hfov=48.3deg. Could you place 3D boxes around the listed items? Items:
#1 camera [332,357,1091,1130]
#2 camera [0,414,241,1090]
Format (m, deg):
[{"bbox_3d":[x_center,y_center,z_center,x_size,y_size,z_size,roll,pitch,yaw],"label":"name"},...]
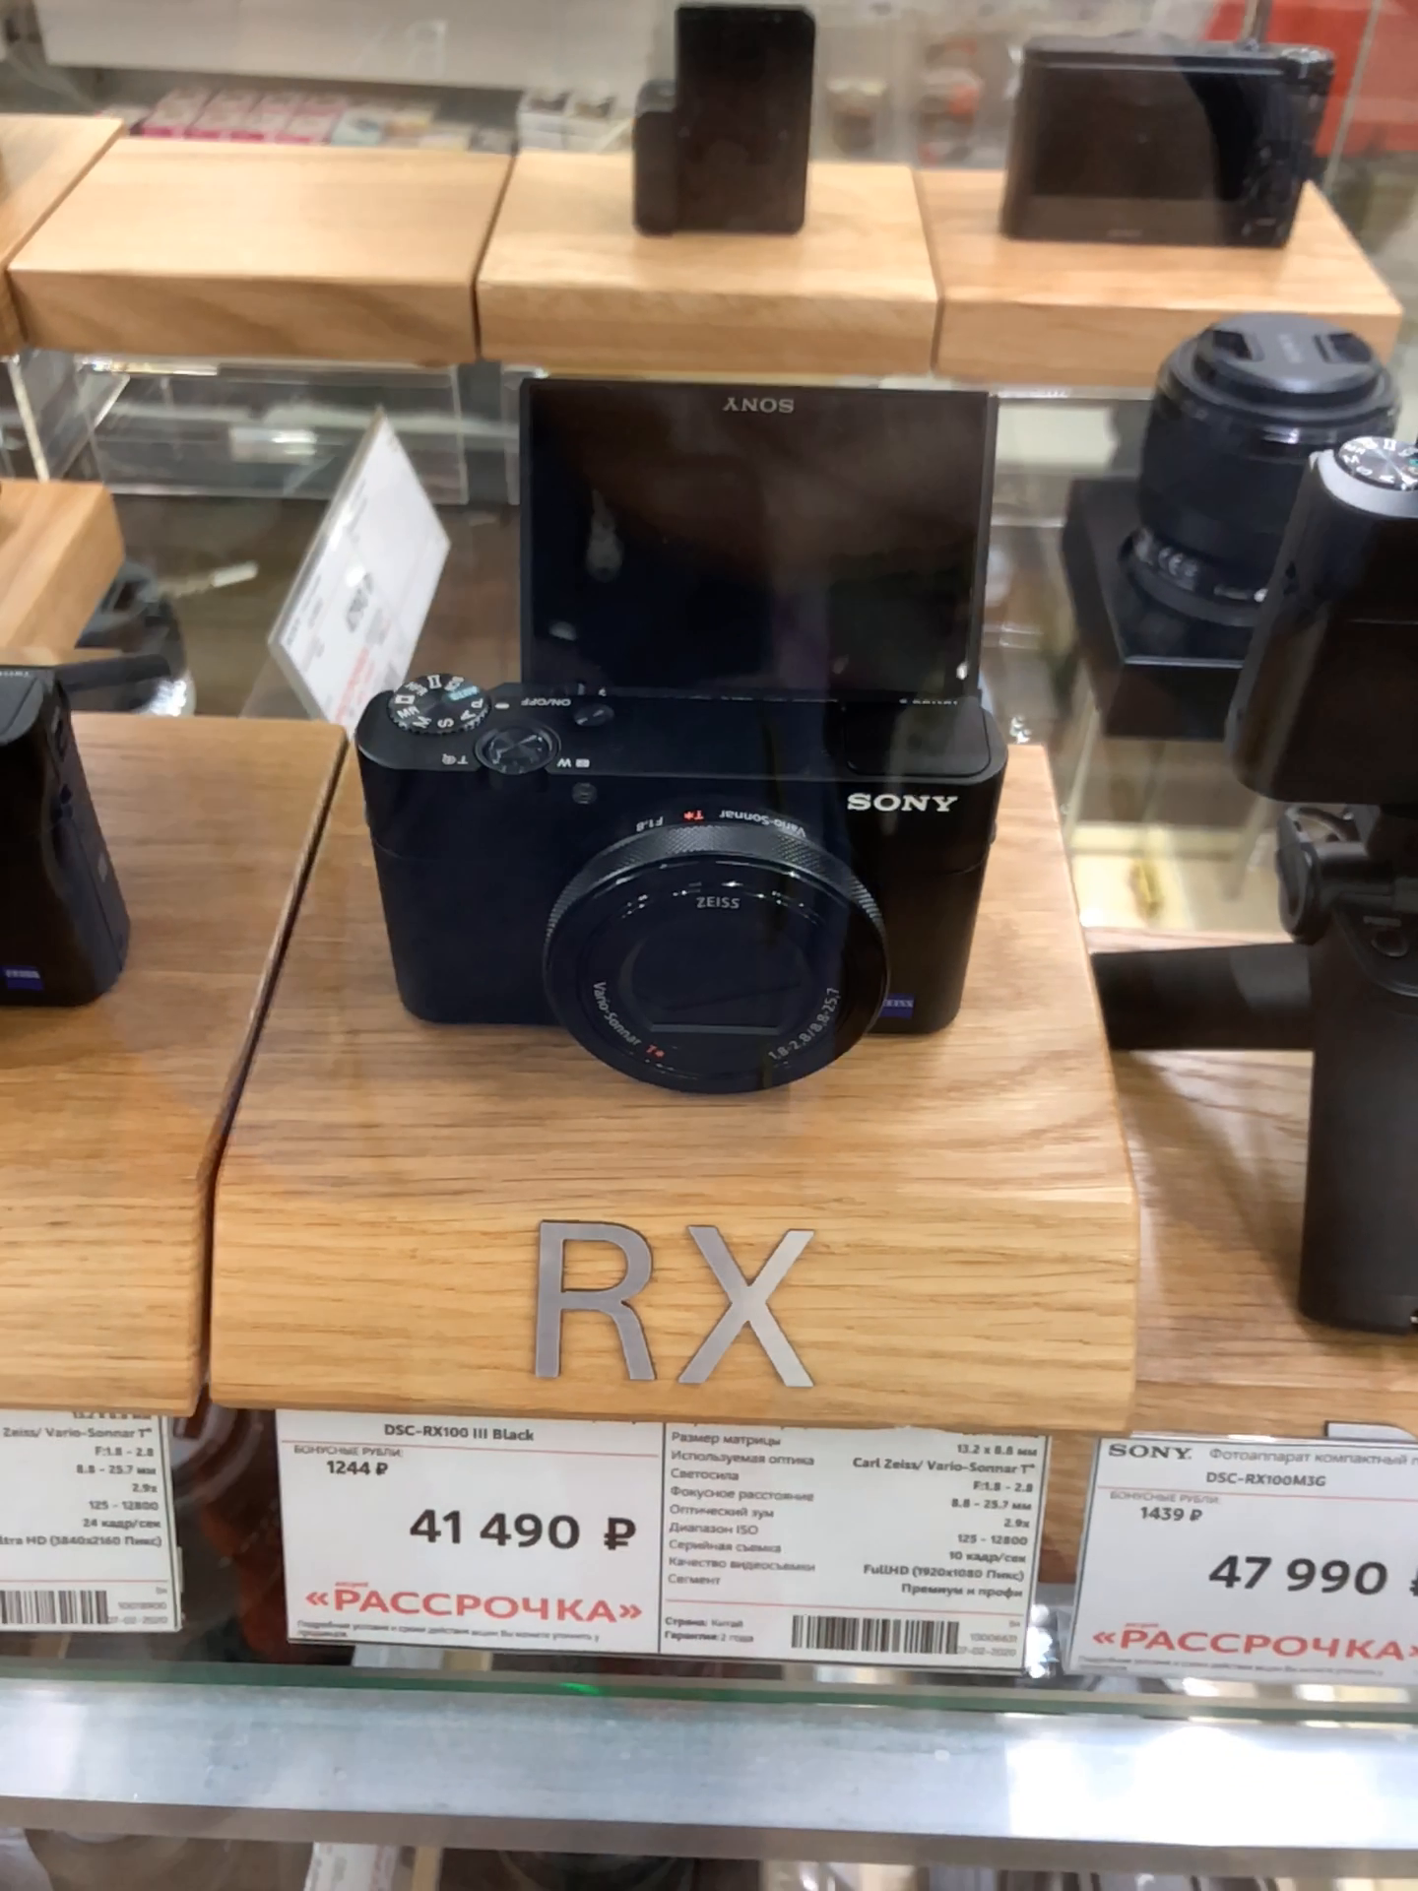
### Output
[{"bbox_3d":[-0.001,-0.029,0.268,0.100,0.119,0.050,2,44,0],"label":"camera"},{"bbox_3d":[-0.149,-0.036,0.274,0.101,0.067,0.097,2,44,0],"label":"camera"}]
